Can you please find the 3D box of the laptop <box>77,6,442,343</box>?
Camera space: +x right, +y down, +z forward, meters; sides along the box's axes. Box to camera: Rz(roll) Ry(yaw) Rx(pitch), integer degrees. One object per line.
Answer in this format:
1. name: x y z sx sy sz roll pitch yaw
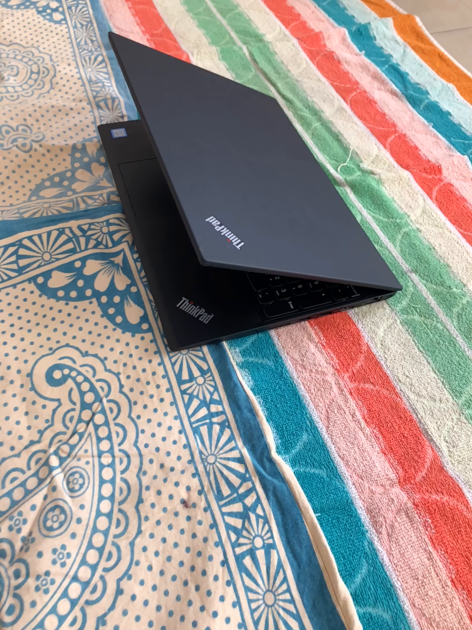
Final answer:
1. laptop: 0.001 -0.173 0.554 0.243 0.121 0.347 -14 58 -15
